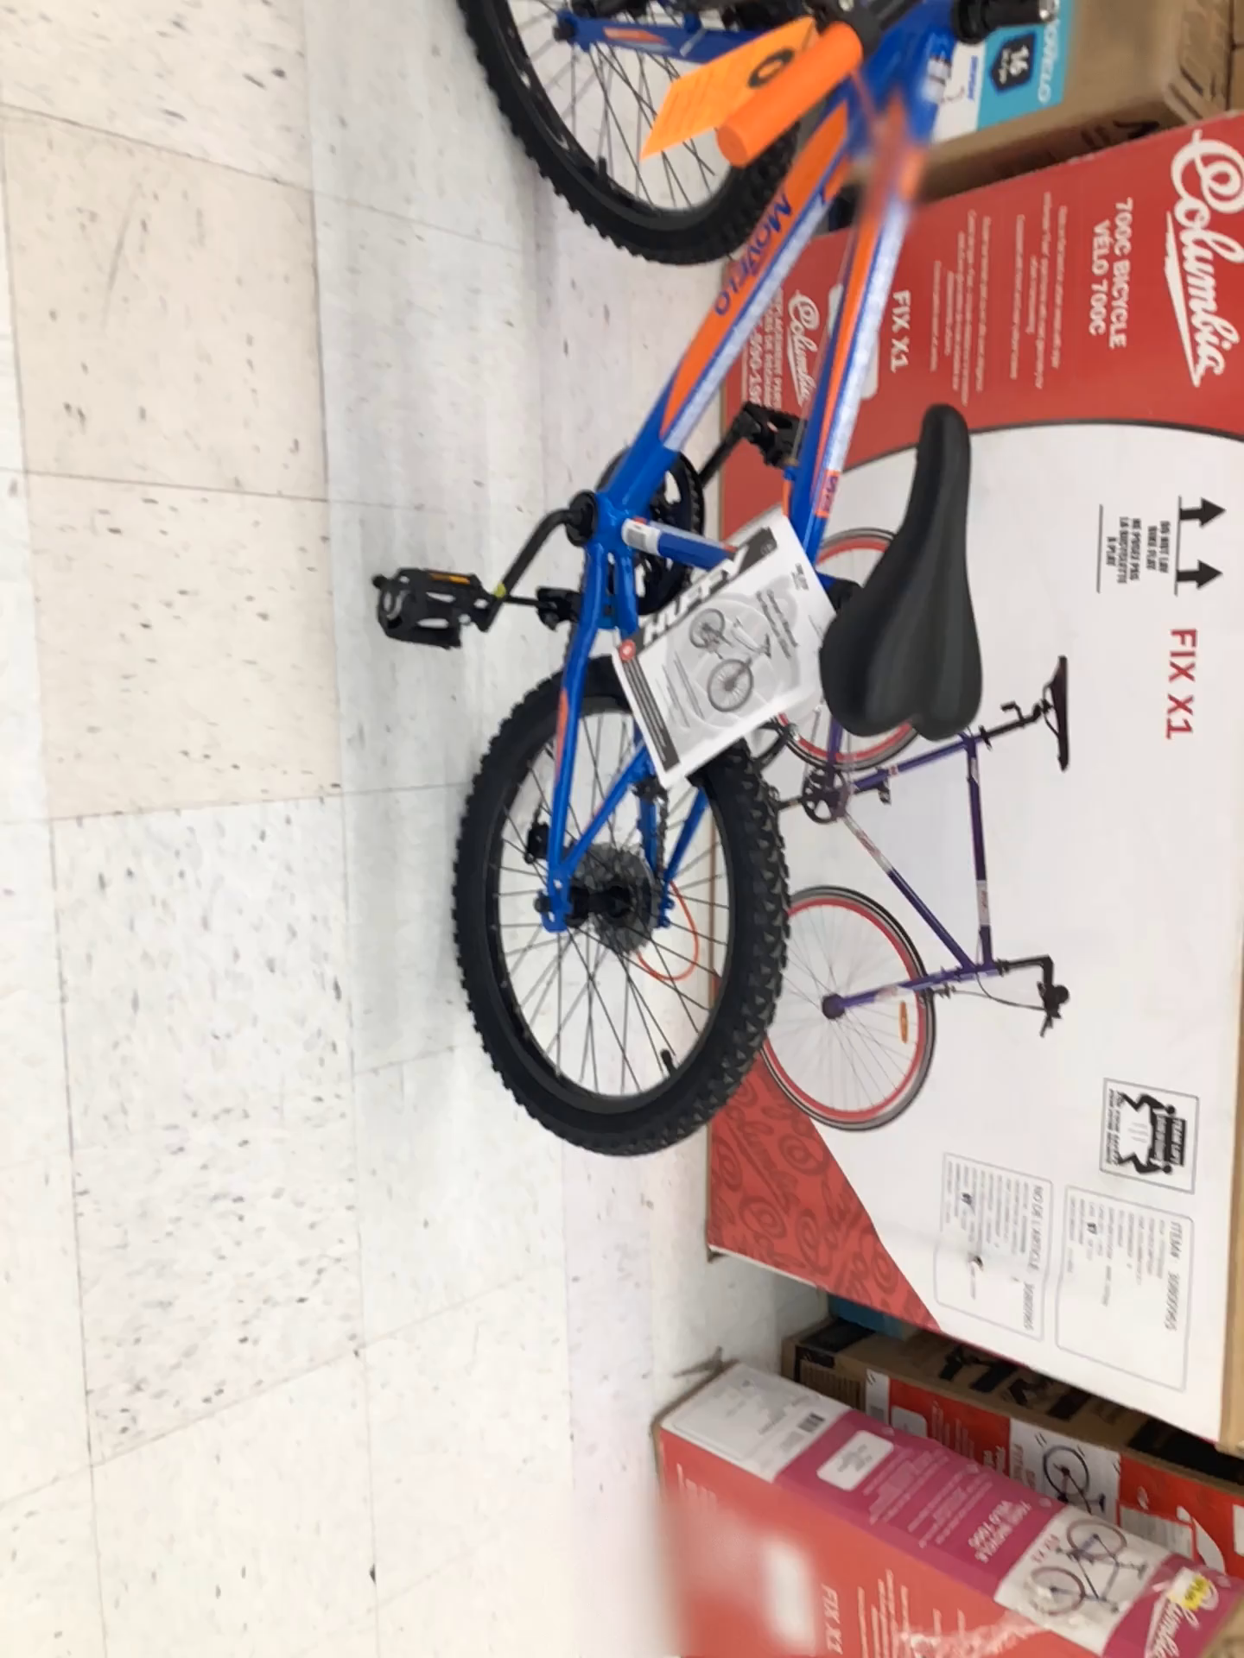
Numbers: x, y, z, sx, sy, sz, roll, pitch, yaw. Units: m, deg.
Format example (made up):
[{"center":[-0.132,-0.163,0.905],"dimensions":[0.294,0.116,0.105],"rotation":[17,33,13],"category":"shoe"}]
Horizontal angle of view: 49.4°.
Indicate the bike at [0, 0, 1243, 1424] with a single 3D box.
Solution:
[{"center":[-0.018,-0.355,1.233],"dimensions":[0.587,0.869,1.314],"rotation":[-8,94,-46],"category":"bike"}]
